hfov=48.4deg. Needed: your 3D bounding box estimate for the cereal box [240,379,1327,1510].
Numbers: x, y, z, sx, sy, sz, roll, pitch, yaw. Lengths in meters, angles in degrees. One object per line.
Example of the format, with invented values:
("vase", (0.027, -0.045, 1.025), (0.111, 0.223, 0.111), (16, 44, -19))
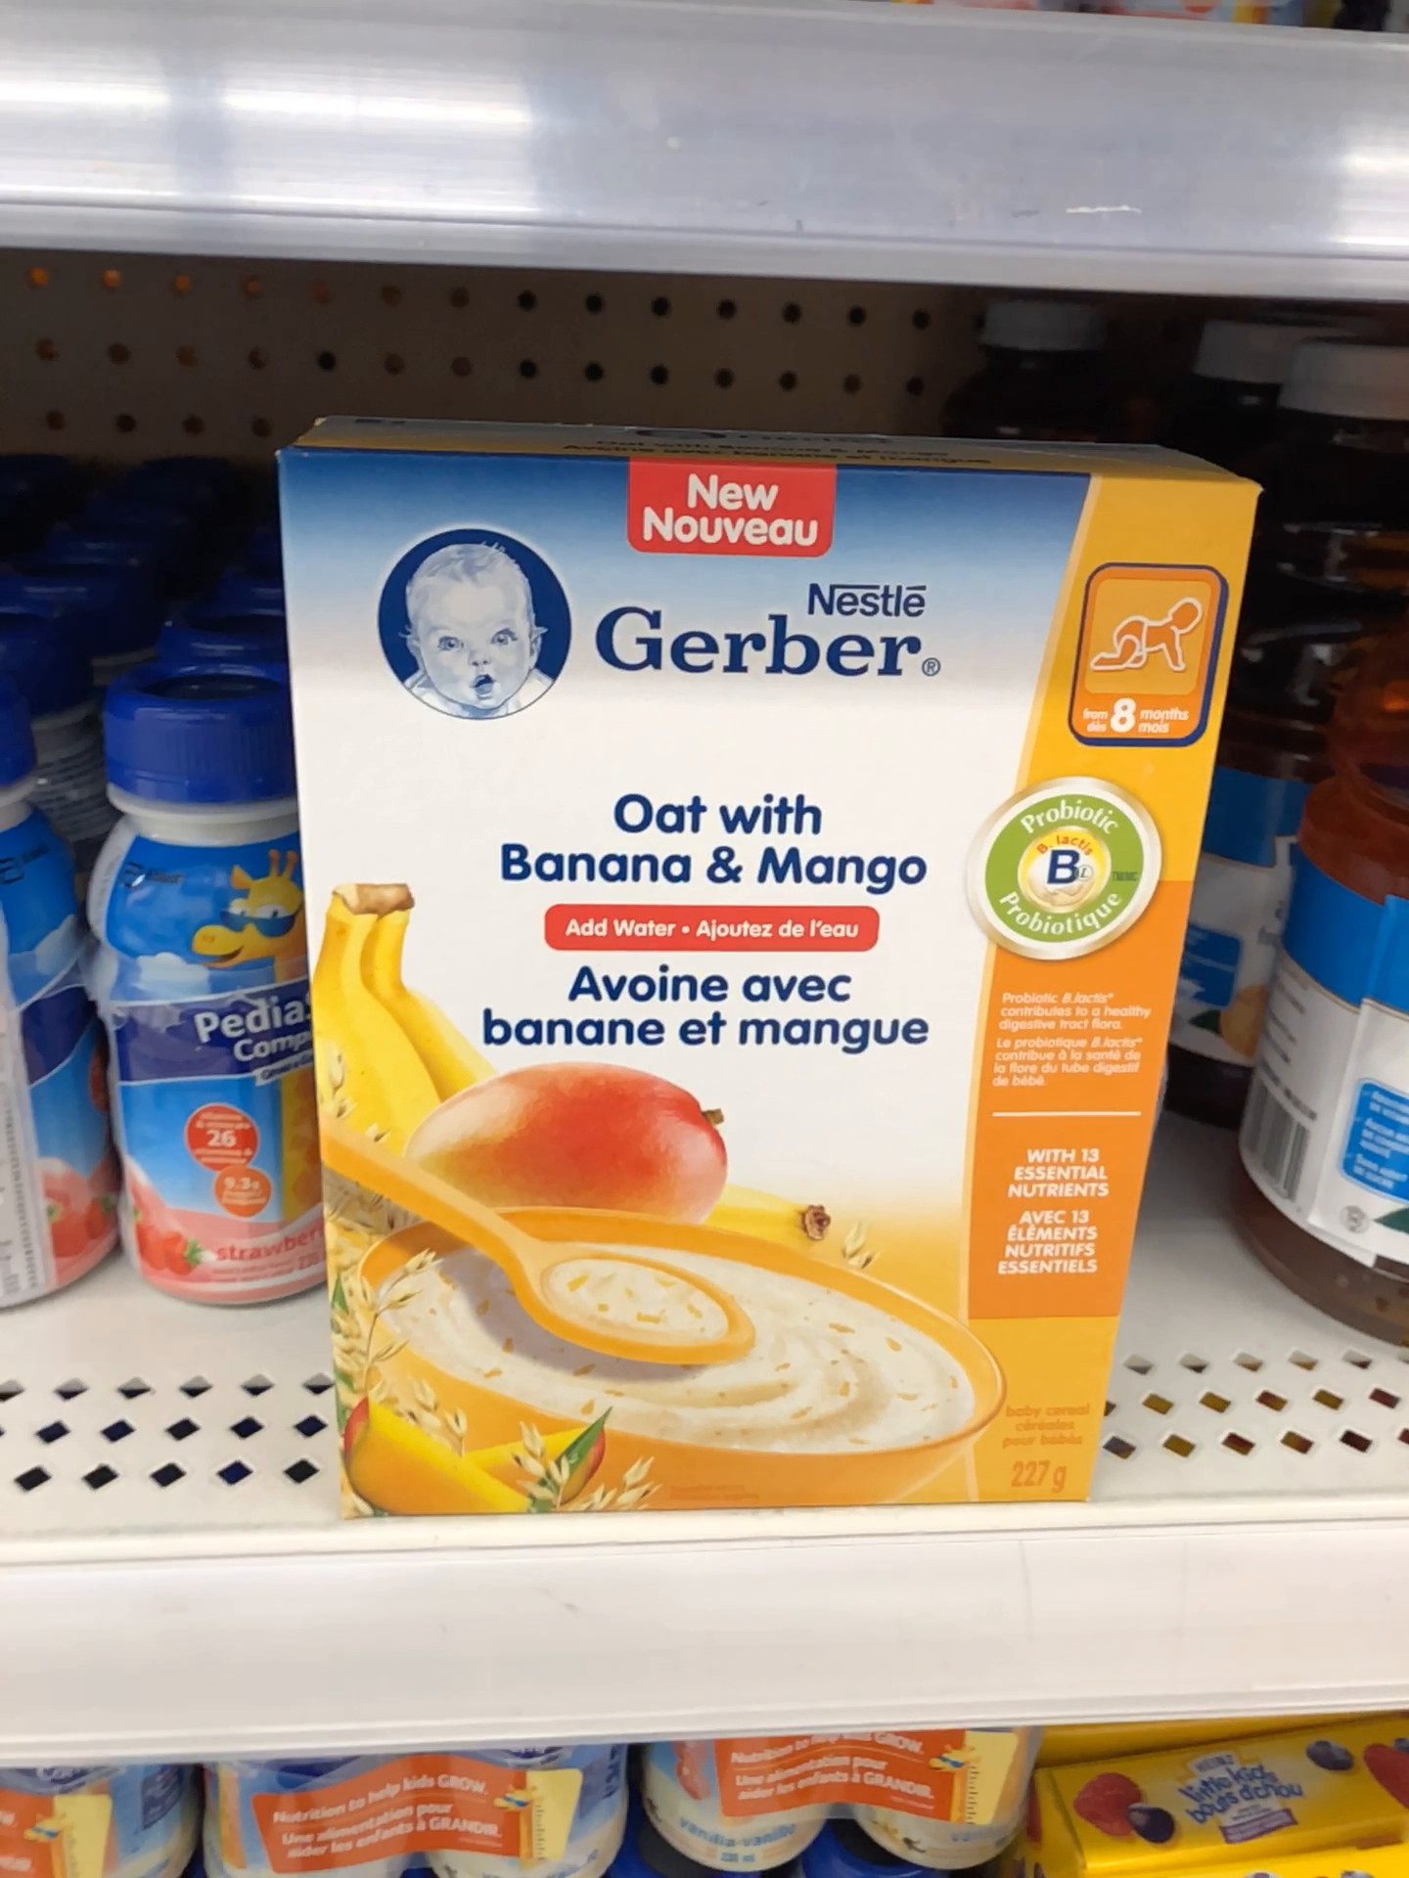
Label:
("cereal box", (0.006, 0.010, 0.270), (0.150, 0.189, 0.040), (1, 24, -6))
